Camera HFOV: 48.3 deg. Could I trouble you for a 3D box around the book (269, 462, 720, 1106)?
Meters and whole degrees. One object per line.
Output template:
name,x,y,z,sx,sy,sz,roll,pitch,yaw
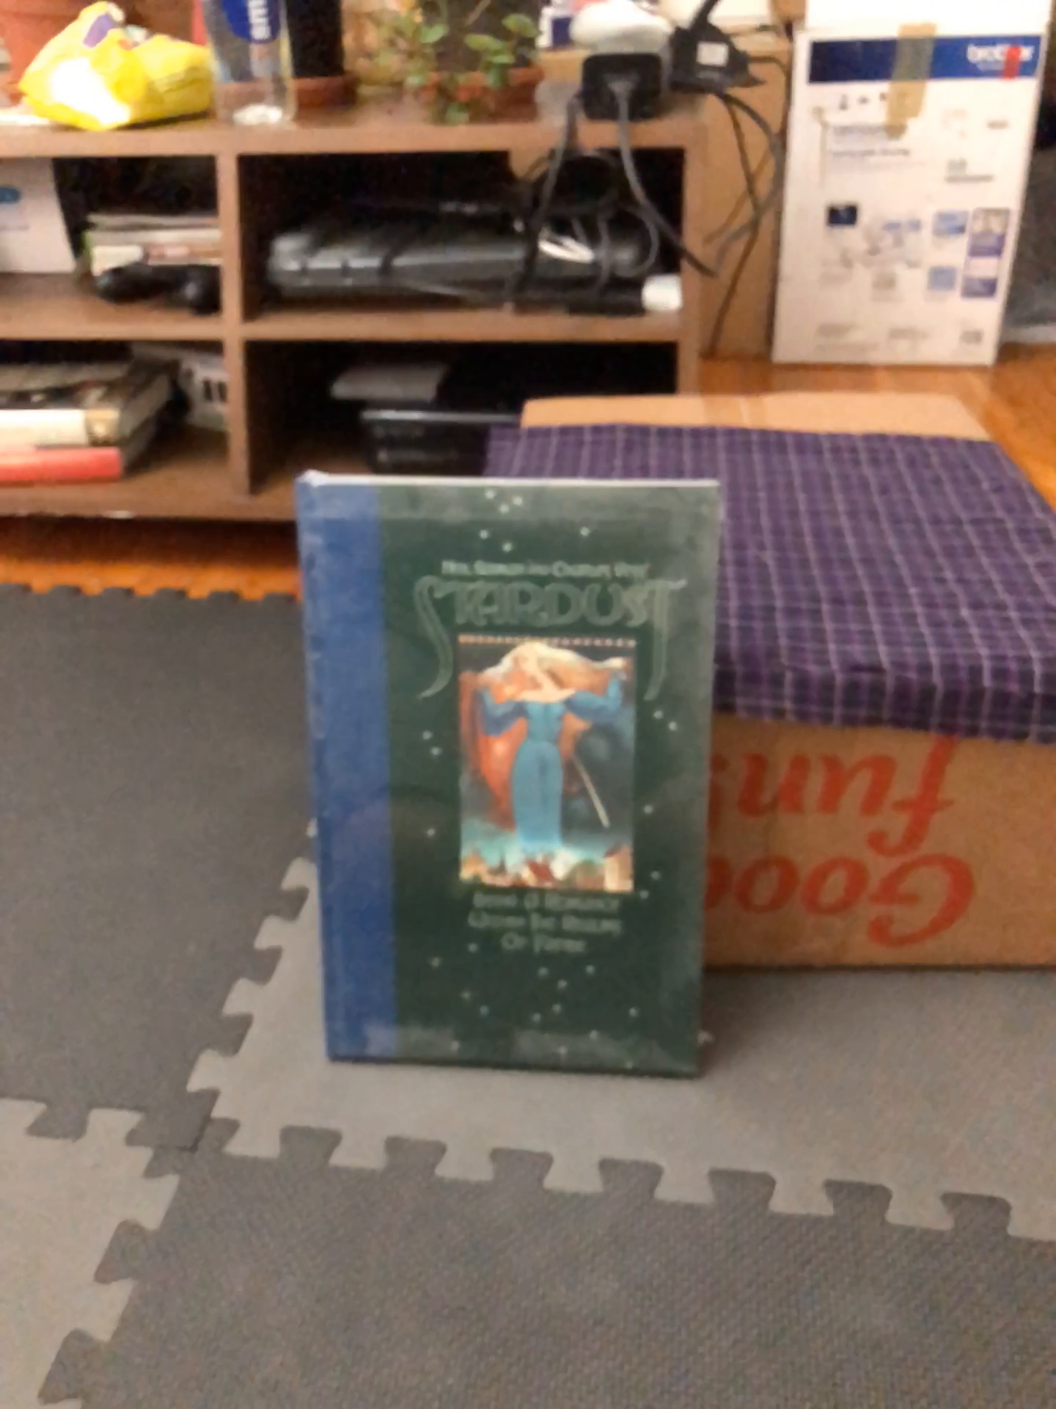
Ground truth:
book,-0.014,0.047,0.594,0.210,0.329,0.020,1,15,6
